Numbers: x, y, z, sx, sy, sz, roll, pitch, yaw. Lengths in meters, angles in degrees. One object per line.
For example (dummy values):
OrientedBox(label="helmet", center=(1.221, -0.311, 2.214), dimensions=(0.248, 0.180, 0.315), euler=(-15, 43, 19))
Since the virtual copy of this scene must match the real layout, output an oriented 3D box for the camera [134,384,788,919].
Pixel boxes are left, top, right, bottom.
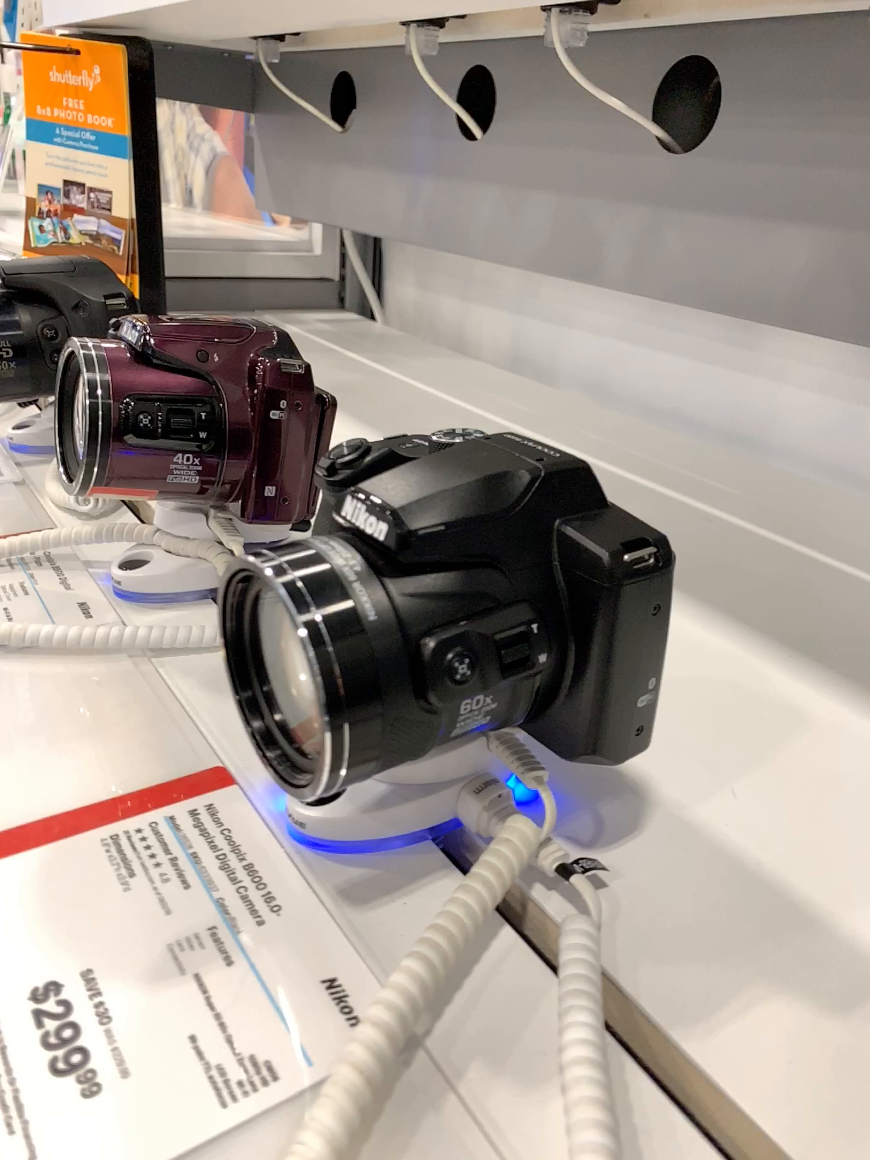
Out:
OrientedBox(label="camera", center=(-0.001, 0.001, 0.243), dimensions=(0.110, 0.070, 0.130), euler=(-14, 31, -35))
